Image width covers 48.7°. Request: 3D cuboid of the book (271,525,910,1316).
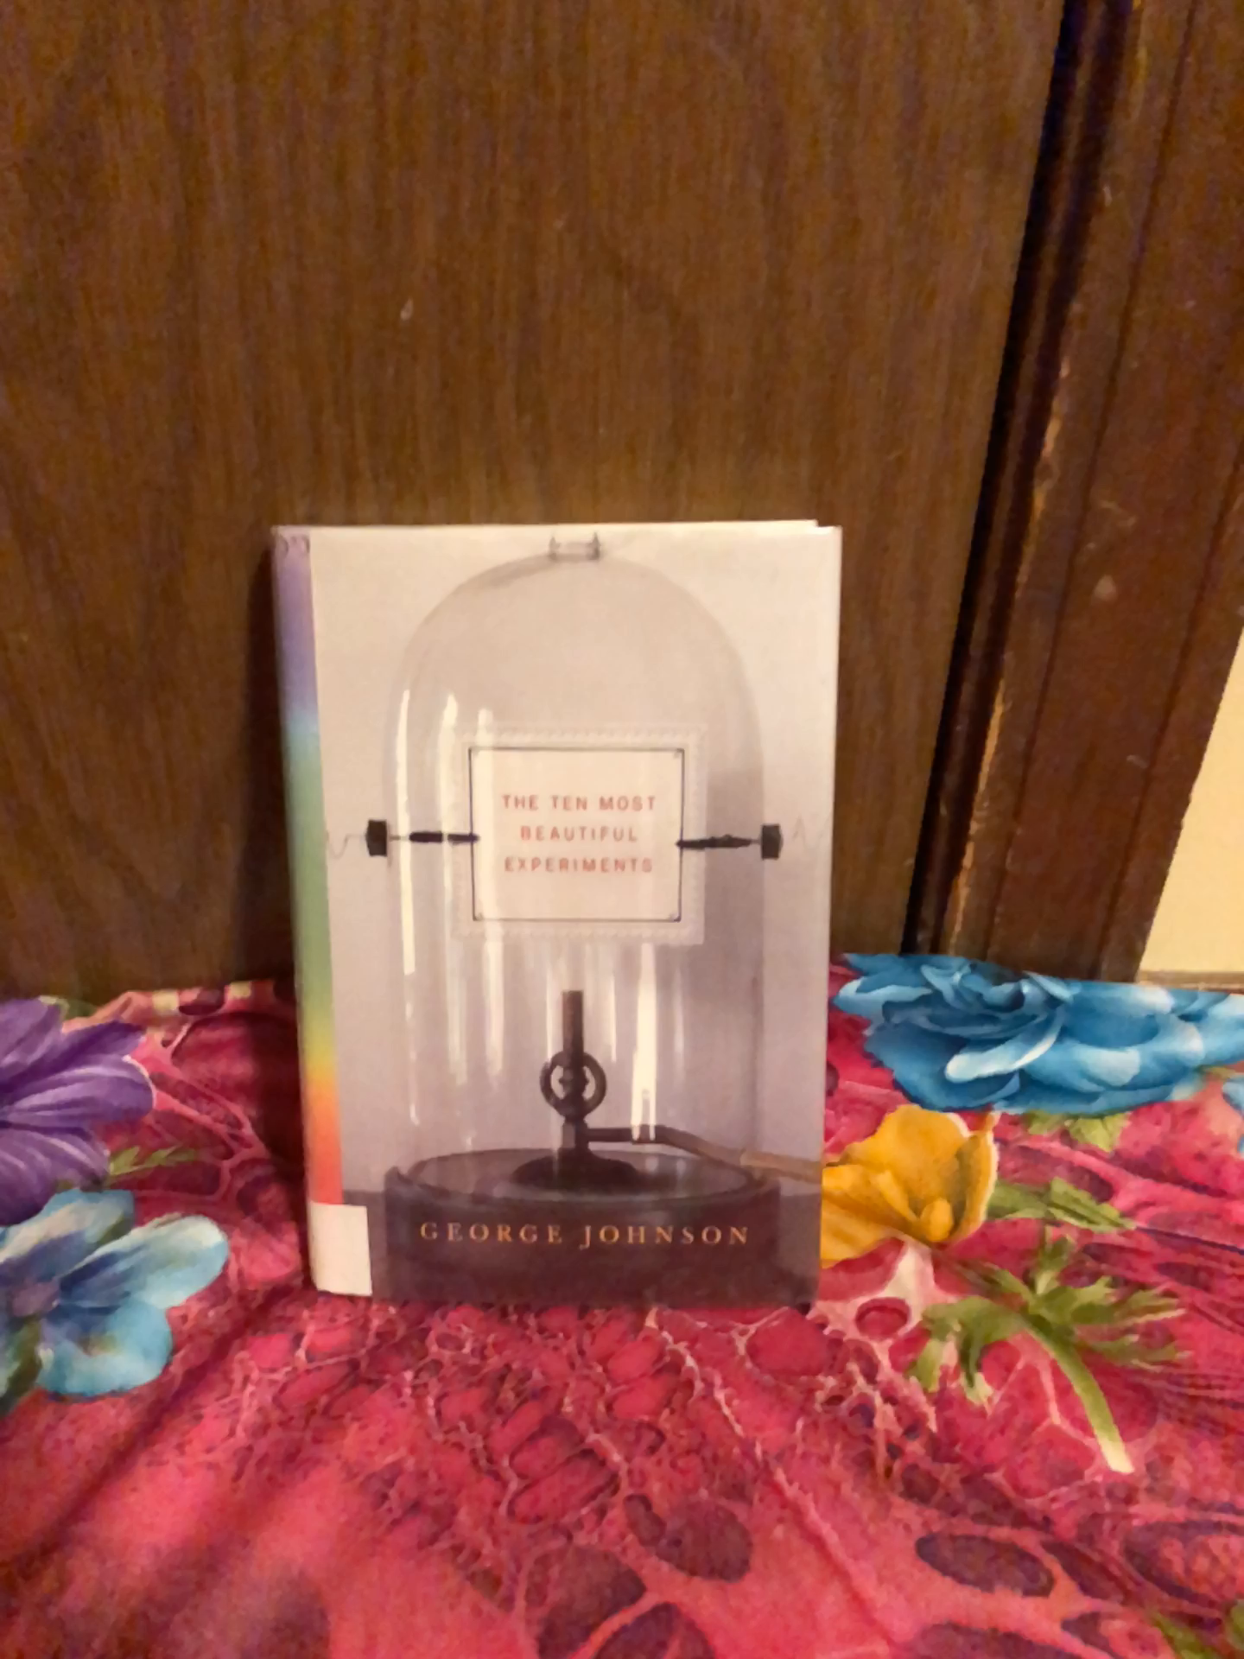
[{"bbox_3d":[-0.008,0.023,0.336,0.140,0.190,0.033,0,12,-1],"label":"book"}]
